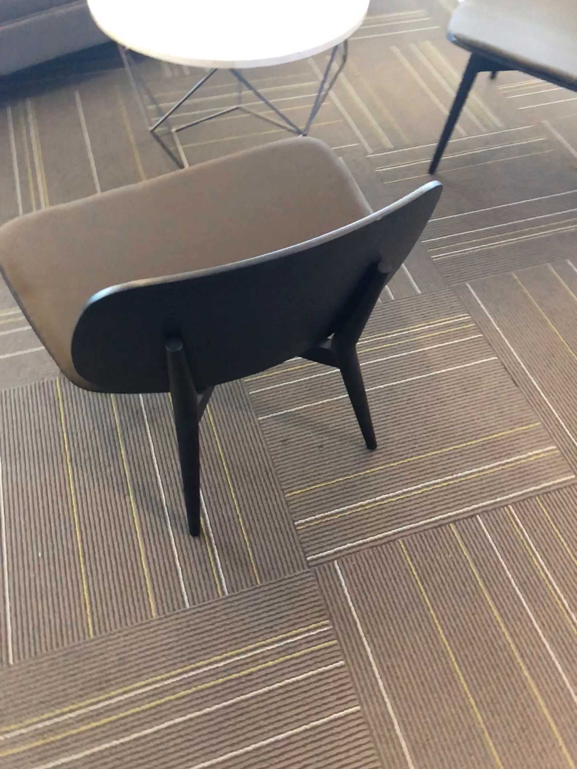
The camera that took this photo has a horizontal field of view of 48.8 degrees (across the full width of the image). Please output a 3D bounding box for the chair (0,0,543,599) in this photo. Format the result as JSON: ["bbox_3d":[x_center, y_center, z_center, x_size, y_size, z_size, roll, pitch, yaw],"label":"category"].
[{"bbox_3d":[-0.151,-0.202,1.210,0.670,0.737,0.742,-25,58,-18],"label":"chair"}]
